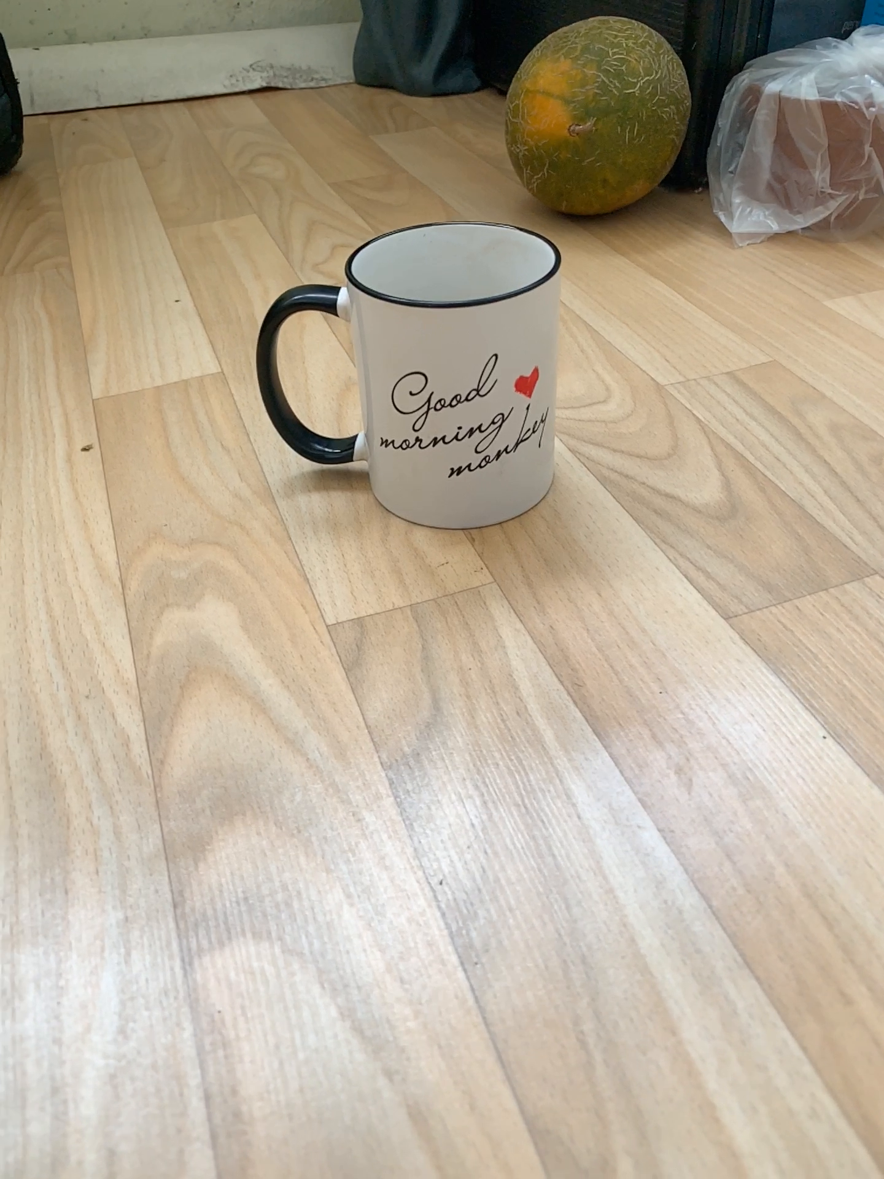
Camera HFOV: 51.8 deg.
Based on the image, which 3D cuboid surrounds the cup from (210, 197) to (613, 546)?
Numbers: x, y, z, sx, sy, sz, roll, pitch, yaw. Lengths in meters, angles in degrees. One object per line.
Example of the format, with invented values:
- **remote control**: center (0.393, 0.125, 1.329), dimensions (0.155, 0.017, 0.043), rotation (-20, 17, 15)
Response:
- **cup**: center (-0.011, -0.085, 0.356), dimensions (0.130, 0.100, 0.080), rotation (-4, 40, -3)
